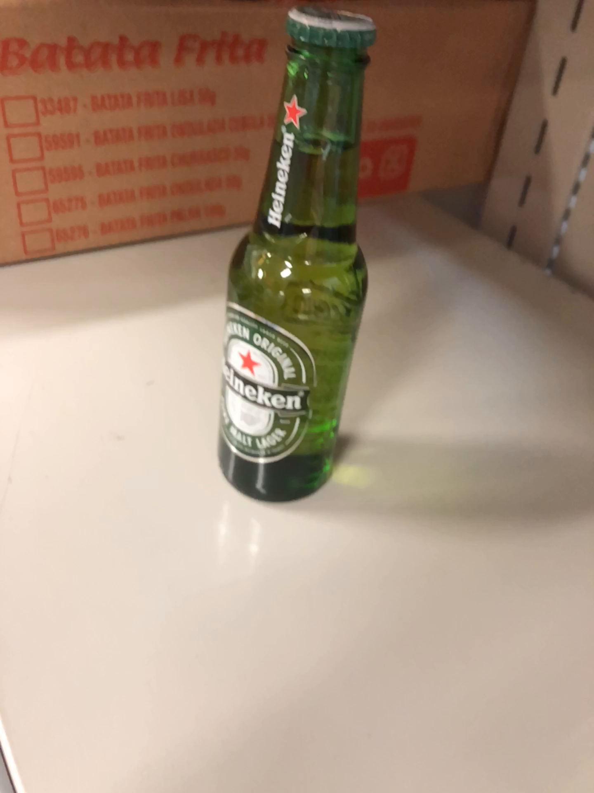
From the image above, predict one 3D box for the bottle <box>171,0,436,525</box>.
[{"bbox_3d":[-0.002,-0.045,0.268,0.060,0.198,0.060,3,40,-2],"label":"bottle"}]
